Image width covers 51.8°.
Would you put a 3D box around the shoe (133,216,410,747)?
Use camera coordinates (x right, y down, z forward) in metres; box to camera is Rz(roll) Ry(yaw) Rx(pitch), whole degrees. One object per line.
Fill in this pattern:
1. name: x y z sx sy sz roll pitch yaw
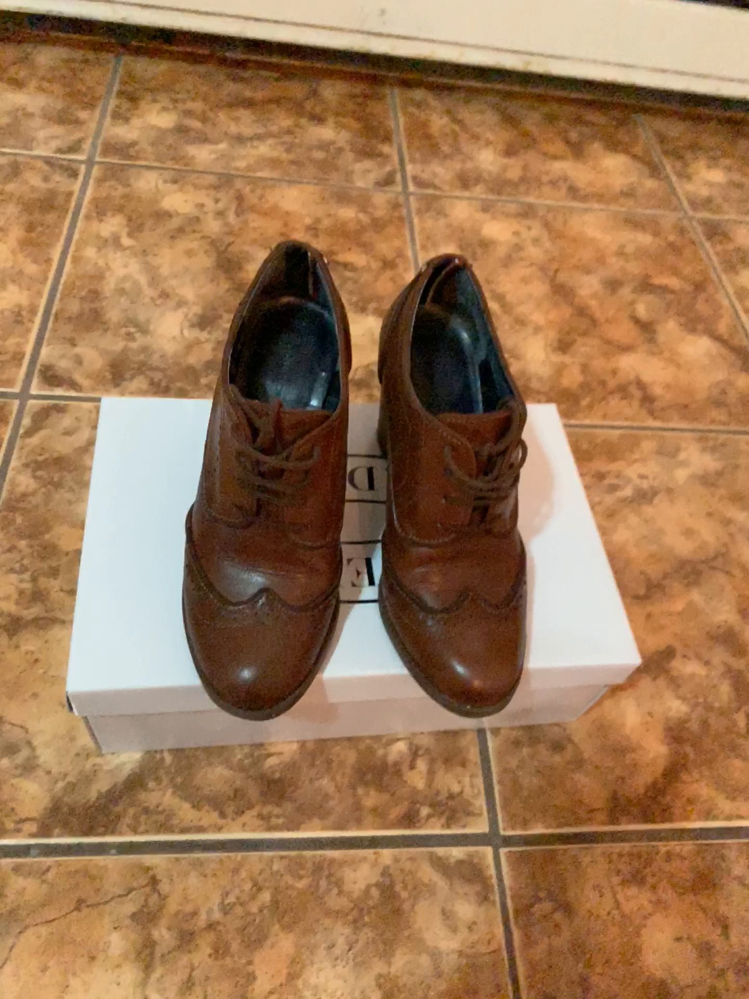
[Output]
1. shoe: -0.047 -0.013 0.391 0.095 0.137 0.229 4 52 -7

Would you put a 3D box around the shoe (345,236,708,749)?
1. shoe: 0.054 -0.010 0.407 0.096 0.137 0.229 -2 53 -12
